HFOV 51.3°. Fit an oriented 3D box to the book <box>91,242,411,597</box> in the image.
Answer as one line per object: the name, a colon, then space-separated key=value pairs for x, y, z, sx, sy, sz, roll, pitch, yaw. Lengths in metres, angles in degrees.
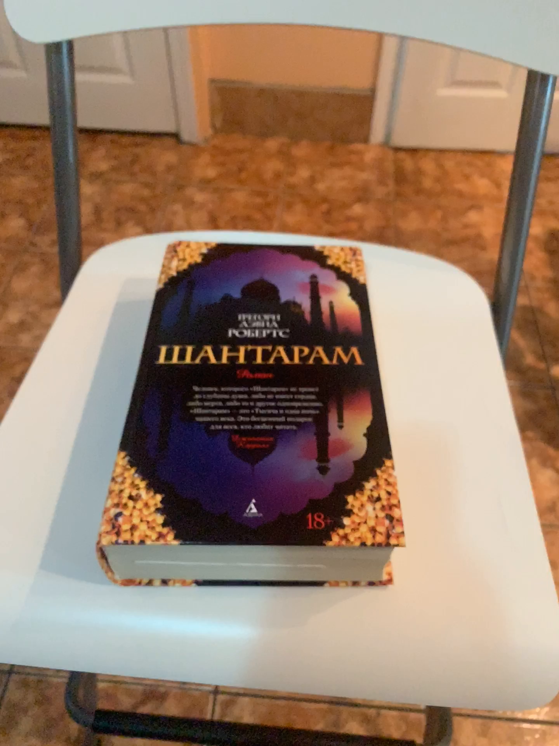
book: x=-0.012 y=0.010 z=0.359 sx=0.145 sy=0.044 sz=0.237 roll=0 pitch=49 yaw=0
